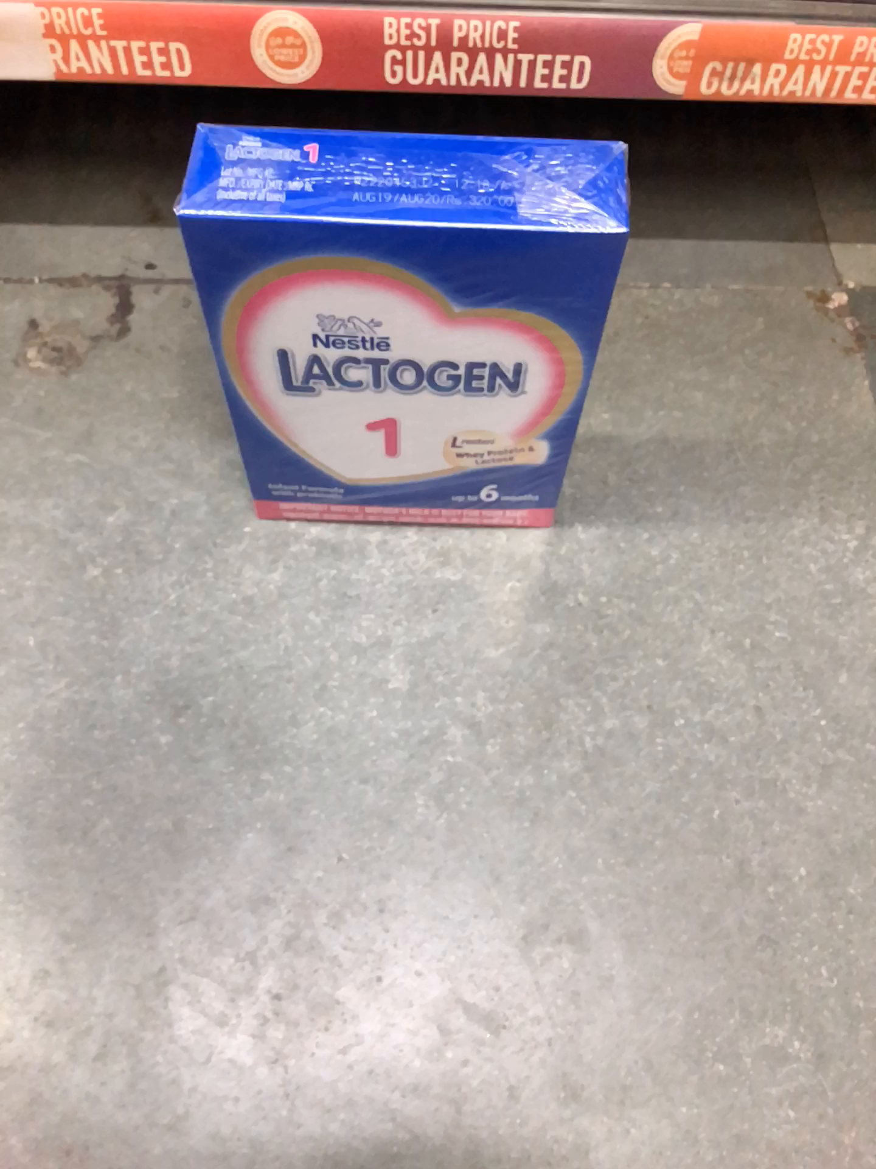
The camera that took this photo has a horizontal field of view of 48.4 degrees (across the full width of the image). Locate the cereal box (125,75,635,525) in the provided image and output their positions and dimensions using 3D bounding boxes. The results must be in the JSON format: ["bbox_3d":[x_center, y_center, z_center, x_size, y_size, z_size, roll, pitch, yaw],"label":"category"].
[{"bbox_3d":[-0.021,-0.100,0.405,0.160,0.199,0.050,1,62,-2],"label":"cereal box"}]
